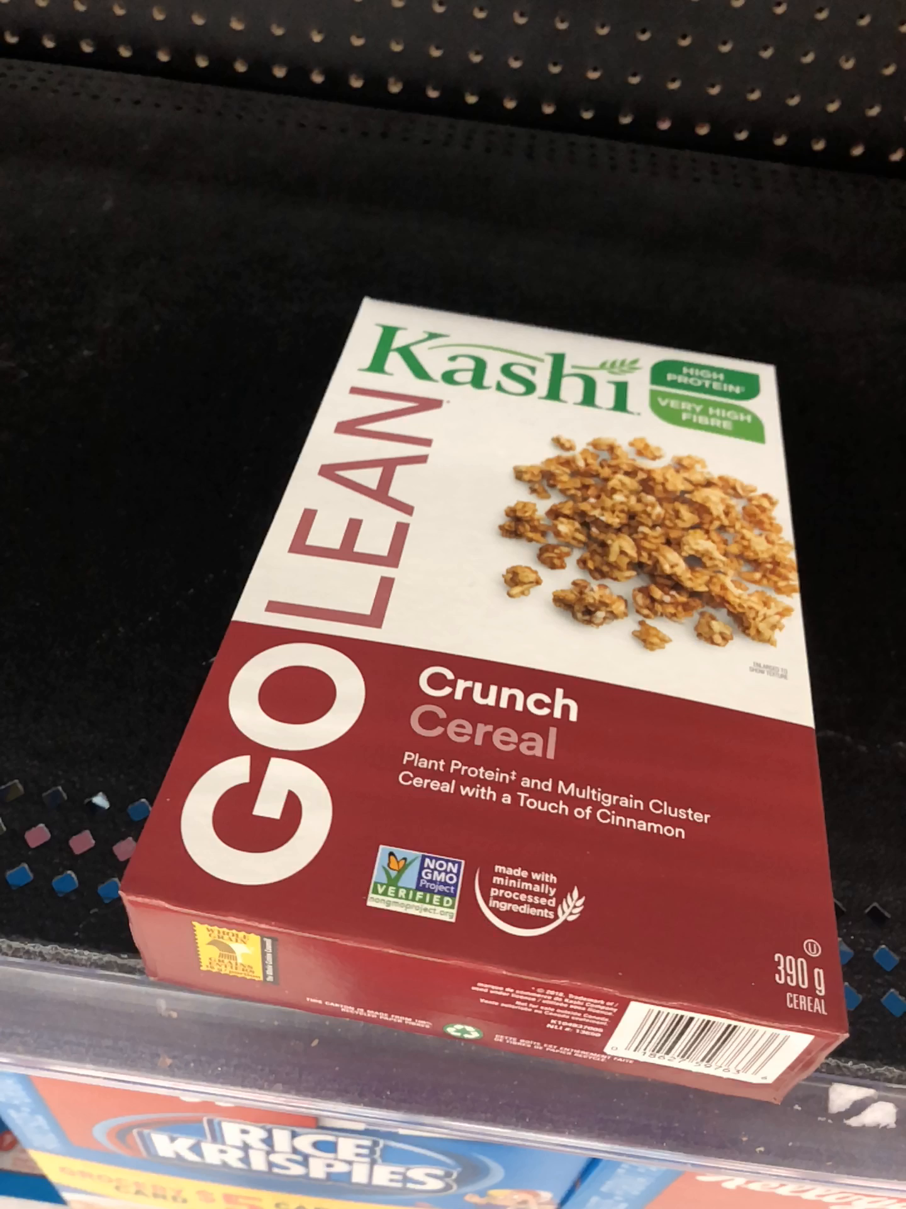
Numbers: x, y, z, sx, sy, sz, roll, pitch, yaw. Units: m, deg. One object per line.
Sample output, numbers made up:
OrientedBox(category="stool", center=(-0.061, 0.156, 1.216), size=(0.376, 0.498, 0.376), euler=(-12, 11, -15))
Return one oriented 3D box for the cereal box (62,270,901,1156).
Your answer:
OrientedBox(category="cereal box", center=(0.026, -0.002, 0.333), size=(0.180, 0.050, 0.291), euler=(11, 46, 2))
